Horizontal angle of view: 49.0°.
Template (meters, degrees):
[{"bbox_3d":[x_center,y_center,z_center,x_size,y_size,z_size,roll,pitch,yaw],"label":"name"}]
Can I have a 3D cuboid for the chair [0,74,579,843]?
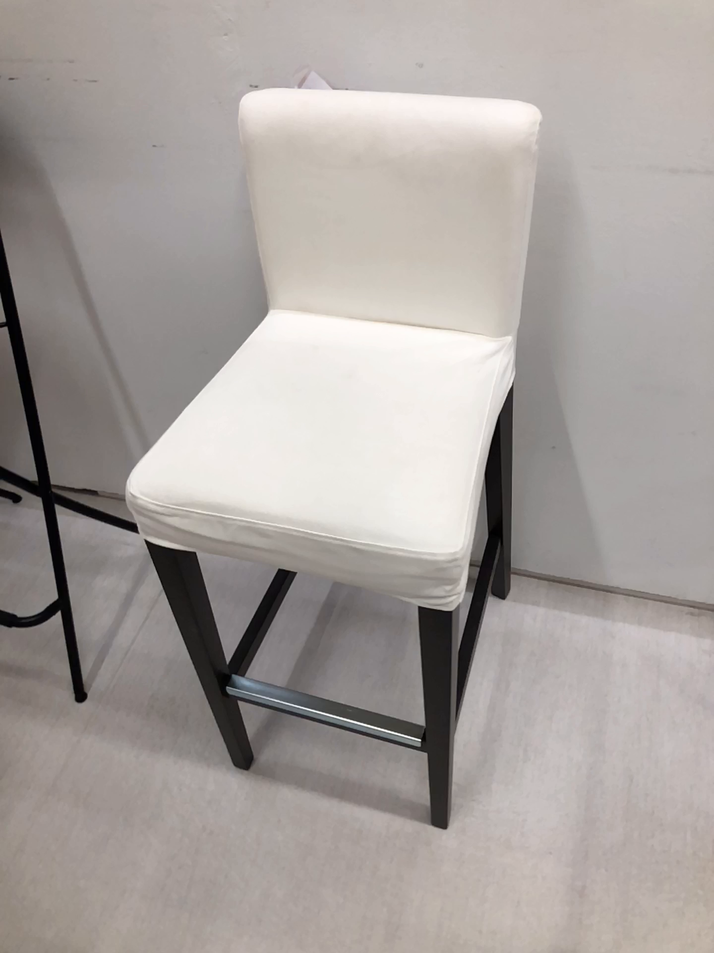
[{"bbox_3d":[-0.007,0.013,1.062,0.440,0.854,0.533,10,48,15],"label":"chair"}]
